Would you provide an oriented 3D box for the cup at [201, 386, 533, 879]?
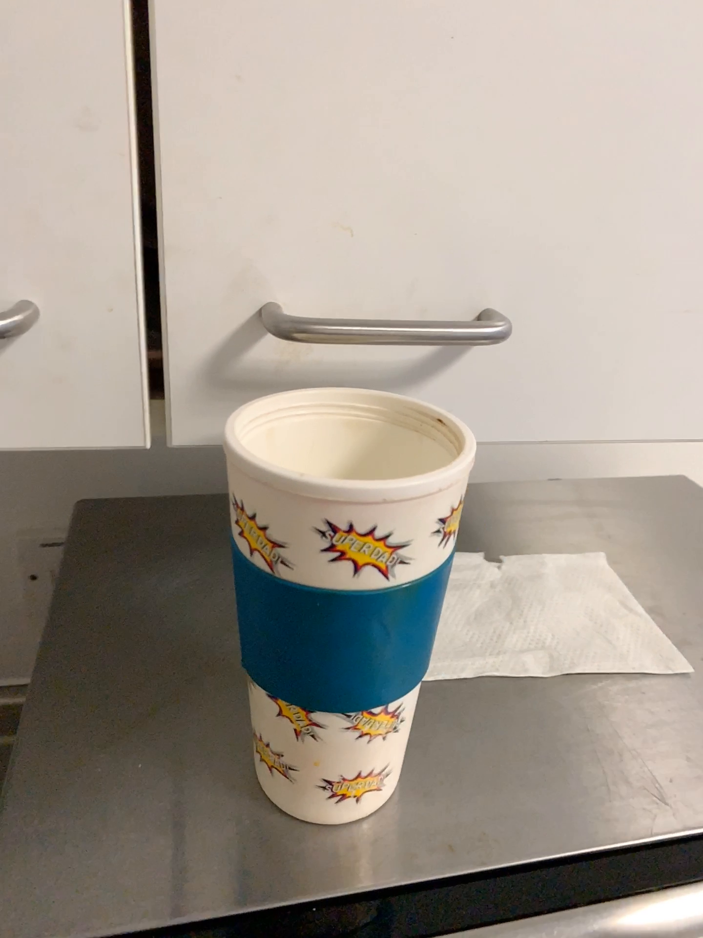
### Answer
[{"bbox_3d":[-0.006,0.054,0.279,0.093,0.146,0.097,3,23,-1],"label":"cup"}]
